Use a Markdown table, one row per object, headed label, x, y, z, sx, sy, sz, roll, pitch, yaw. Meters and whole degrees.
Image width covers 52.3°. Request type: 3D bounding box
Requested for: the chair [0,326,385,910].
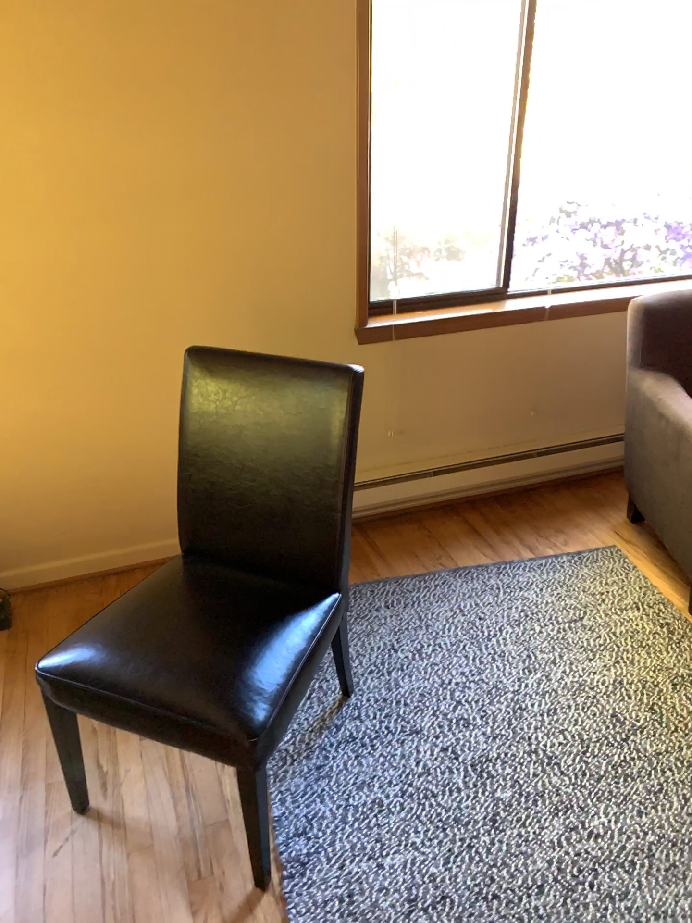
| label | x | y | z | sx | sy | sz | roll | pitch | yaw |
| --- | --- | --- | --- | --- | --- | --- | --- | --- | --- |
| chair | -0.287 | 0.309 | 1.642 | 0.561 | 1.034 | 0.673 | 9 | 29 | 18 |
